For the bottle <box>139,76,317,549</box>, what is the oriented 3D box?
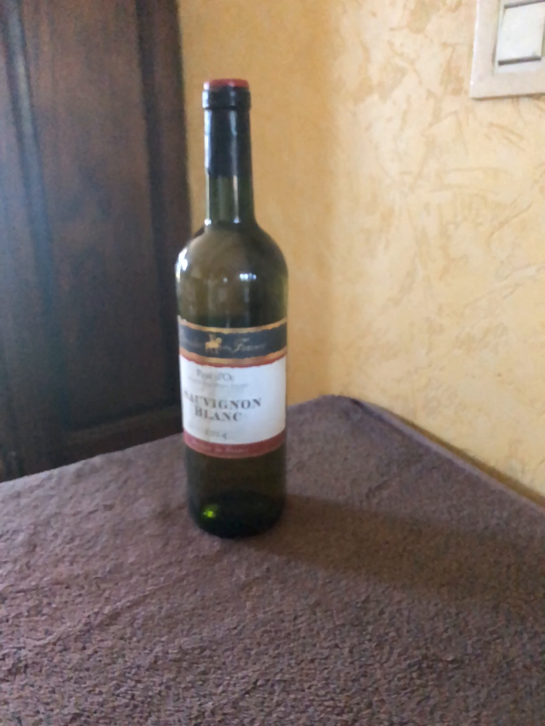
[{"bbox_3d":[-0.021,-0.029,0.410,0.080,0.289,0.080,-1,19,0],"label":"bottle"}]
